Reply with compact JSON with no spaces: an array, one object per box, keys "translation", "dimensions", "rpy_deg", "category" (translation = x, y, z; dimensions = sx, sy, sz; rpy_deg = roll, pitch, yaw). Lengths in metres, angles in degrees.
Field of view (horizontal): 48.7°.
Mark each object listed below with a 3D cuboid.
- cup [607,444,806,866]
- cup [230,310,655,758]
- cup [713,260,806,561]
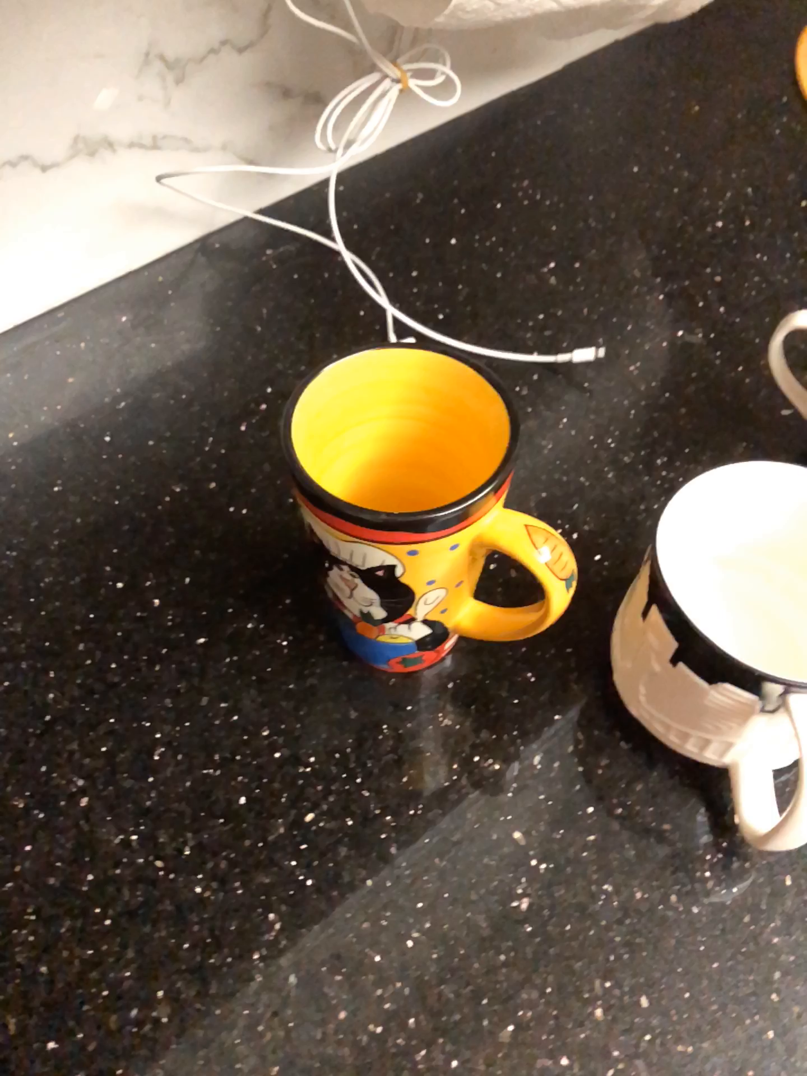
[{"translation":[0.154,0.050,0.384],"dimensions":[0.110,0.100,0.141],"rpy_deg":[5,55,3],"category":"cup"},{"translation":[0.015,0.001,0.383],"dimensions":[0.130,0.129,0.090],"rpy_deg":[26,59,17],"category":"cup"},{"translation":[0.252,-0.069,0.470],"dimensions":[0.140,0.080,0.100],"rpy_deg":[16,56,11],"category":"cup"}]
